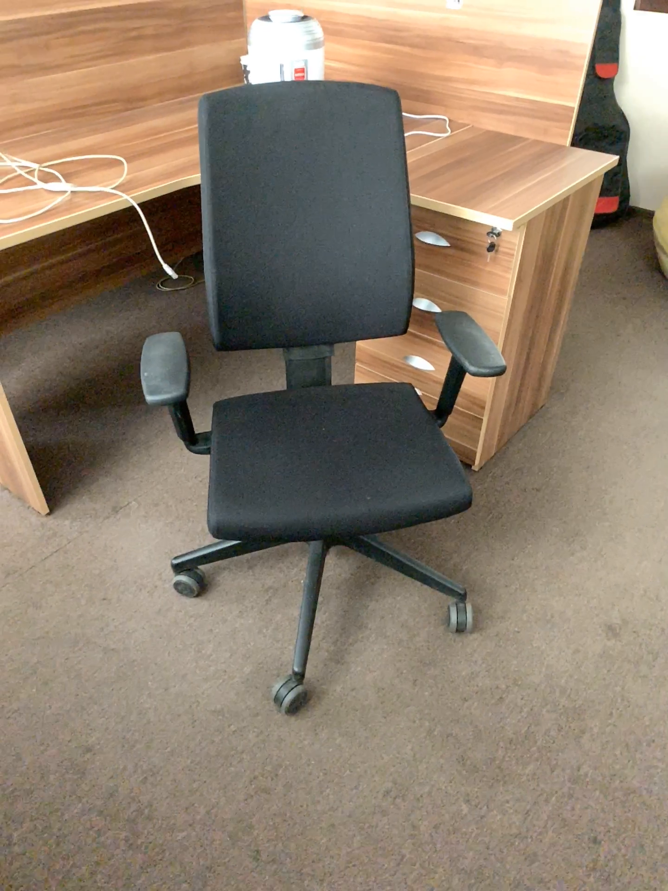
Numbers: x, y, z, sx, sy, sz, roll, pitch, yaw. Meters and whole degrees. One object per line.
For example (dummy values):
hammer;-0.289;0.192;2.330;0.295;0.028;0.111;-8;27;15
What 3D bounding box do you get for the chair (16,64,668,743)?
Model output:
chair;-0.041;-0.111;1.271;0.670;0.915;0.794;-6;39;-8
